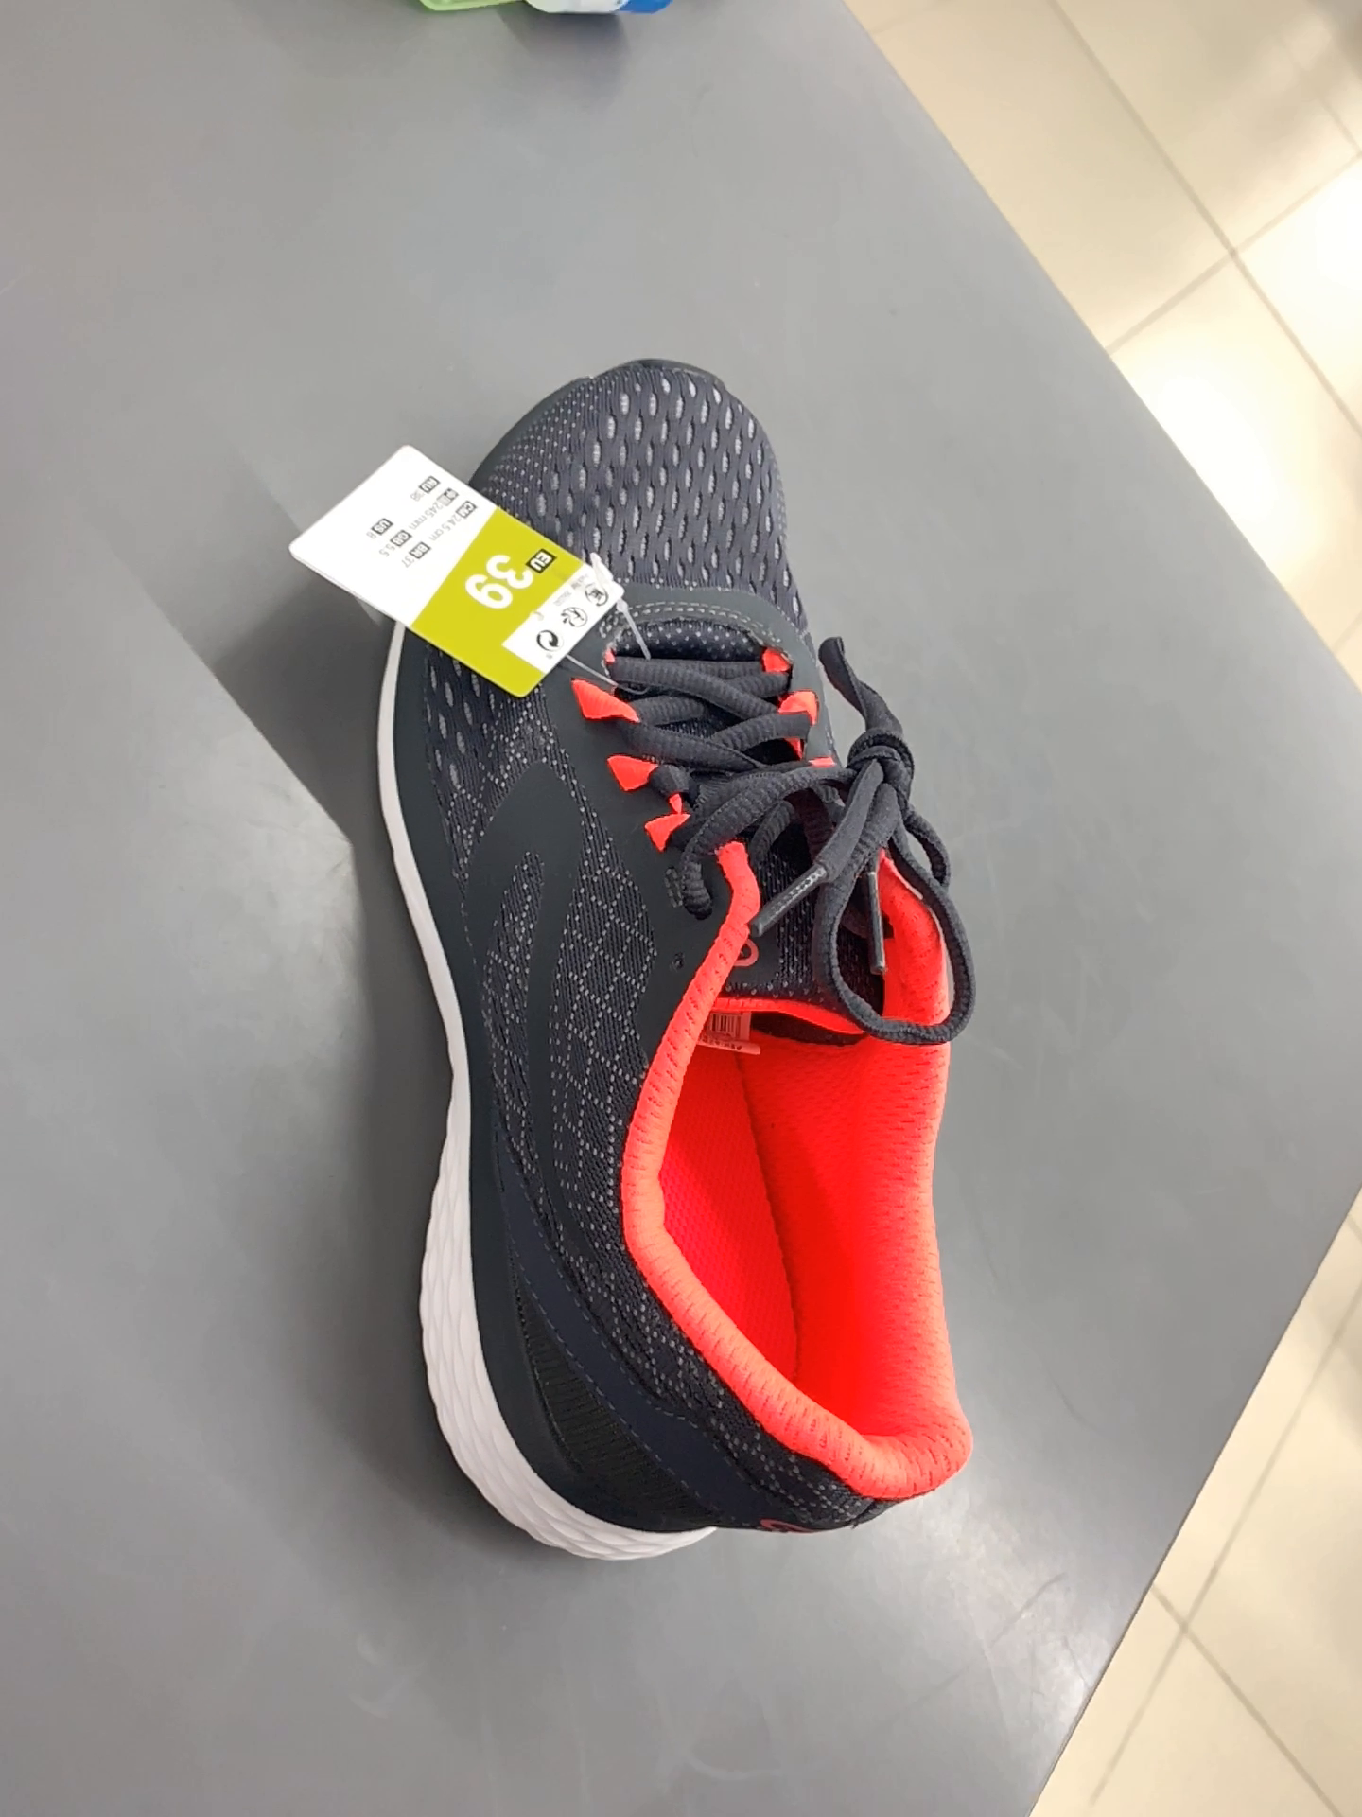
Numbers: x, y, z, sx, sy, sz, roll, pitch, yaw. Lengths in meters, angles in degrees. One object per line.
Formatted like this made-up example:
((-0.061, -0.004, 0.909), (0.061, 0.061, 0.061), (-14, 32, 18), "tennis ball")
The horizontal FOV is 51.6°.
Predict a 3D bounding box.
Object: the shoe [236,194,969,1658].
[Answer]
((-0.023, 0.004, 0.320), (0.110, 0.110, 0.270), (8, 71, -26), "shoe")
